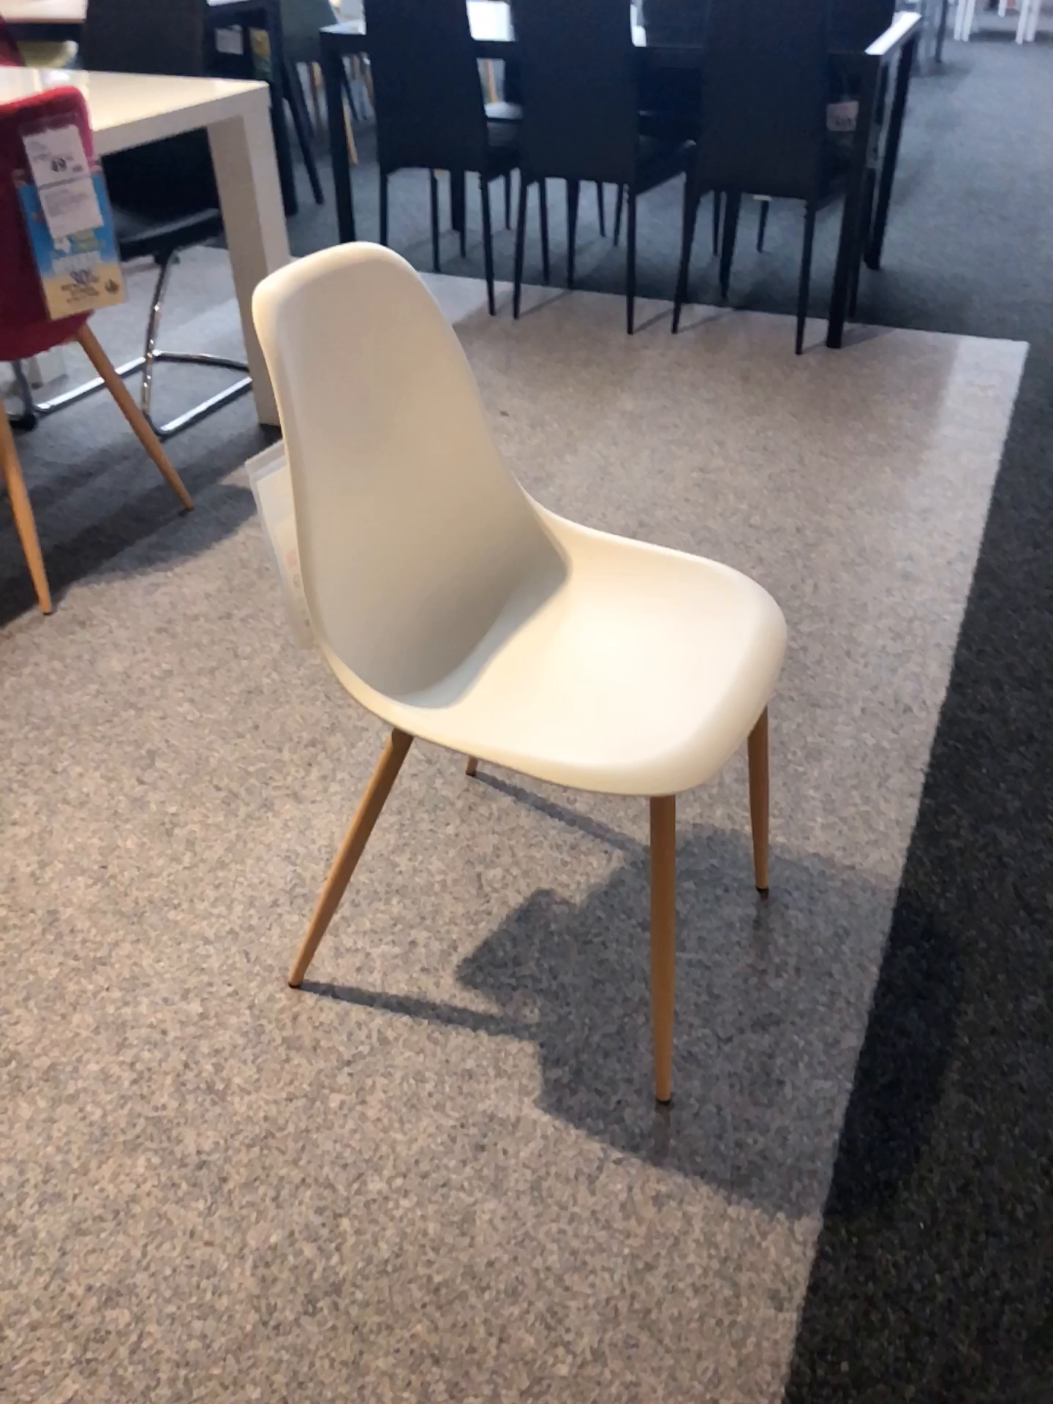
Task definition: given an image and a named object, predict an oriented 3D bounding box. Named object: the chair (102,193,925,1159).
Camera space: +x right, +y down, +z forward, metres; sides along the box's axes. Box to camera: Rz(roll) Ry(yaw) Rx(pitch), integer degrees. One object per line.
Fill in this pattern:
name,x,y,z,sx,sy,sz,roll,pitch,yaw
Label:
chair,0.027,-0.061,1.357,0.600,0.845,0.574,16,39,22
